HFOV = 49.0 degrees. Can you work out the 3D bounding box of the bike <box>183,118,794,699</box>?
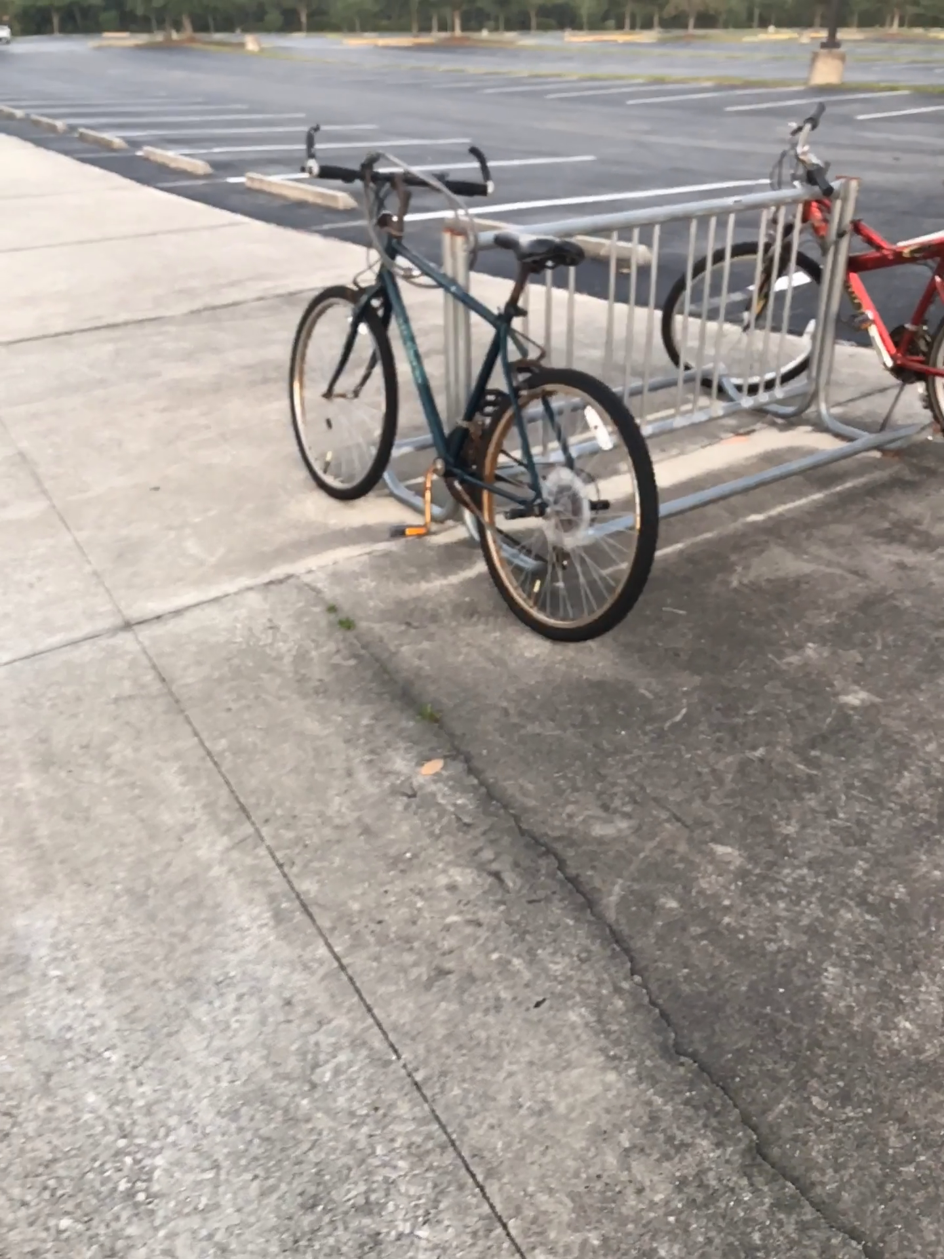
[{"bbox_3d":[-0.100,-0.748,2.852,0.584,1.103,1.758,-19,34,-30],"label":"bike"}]
